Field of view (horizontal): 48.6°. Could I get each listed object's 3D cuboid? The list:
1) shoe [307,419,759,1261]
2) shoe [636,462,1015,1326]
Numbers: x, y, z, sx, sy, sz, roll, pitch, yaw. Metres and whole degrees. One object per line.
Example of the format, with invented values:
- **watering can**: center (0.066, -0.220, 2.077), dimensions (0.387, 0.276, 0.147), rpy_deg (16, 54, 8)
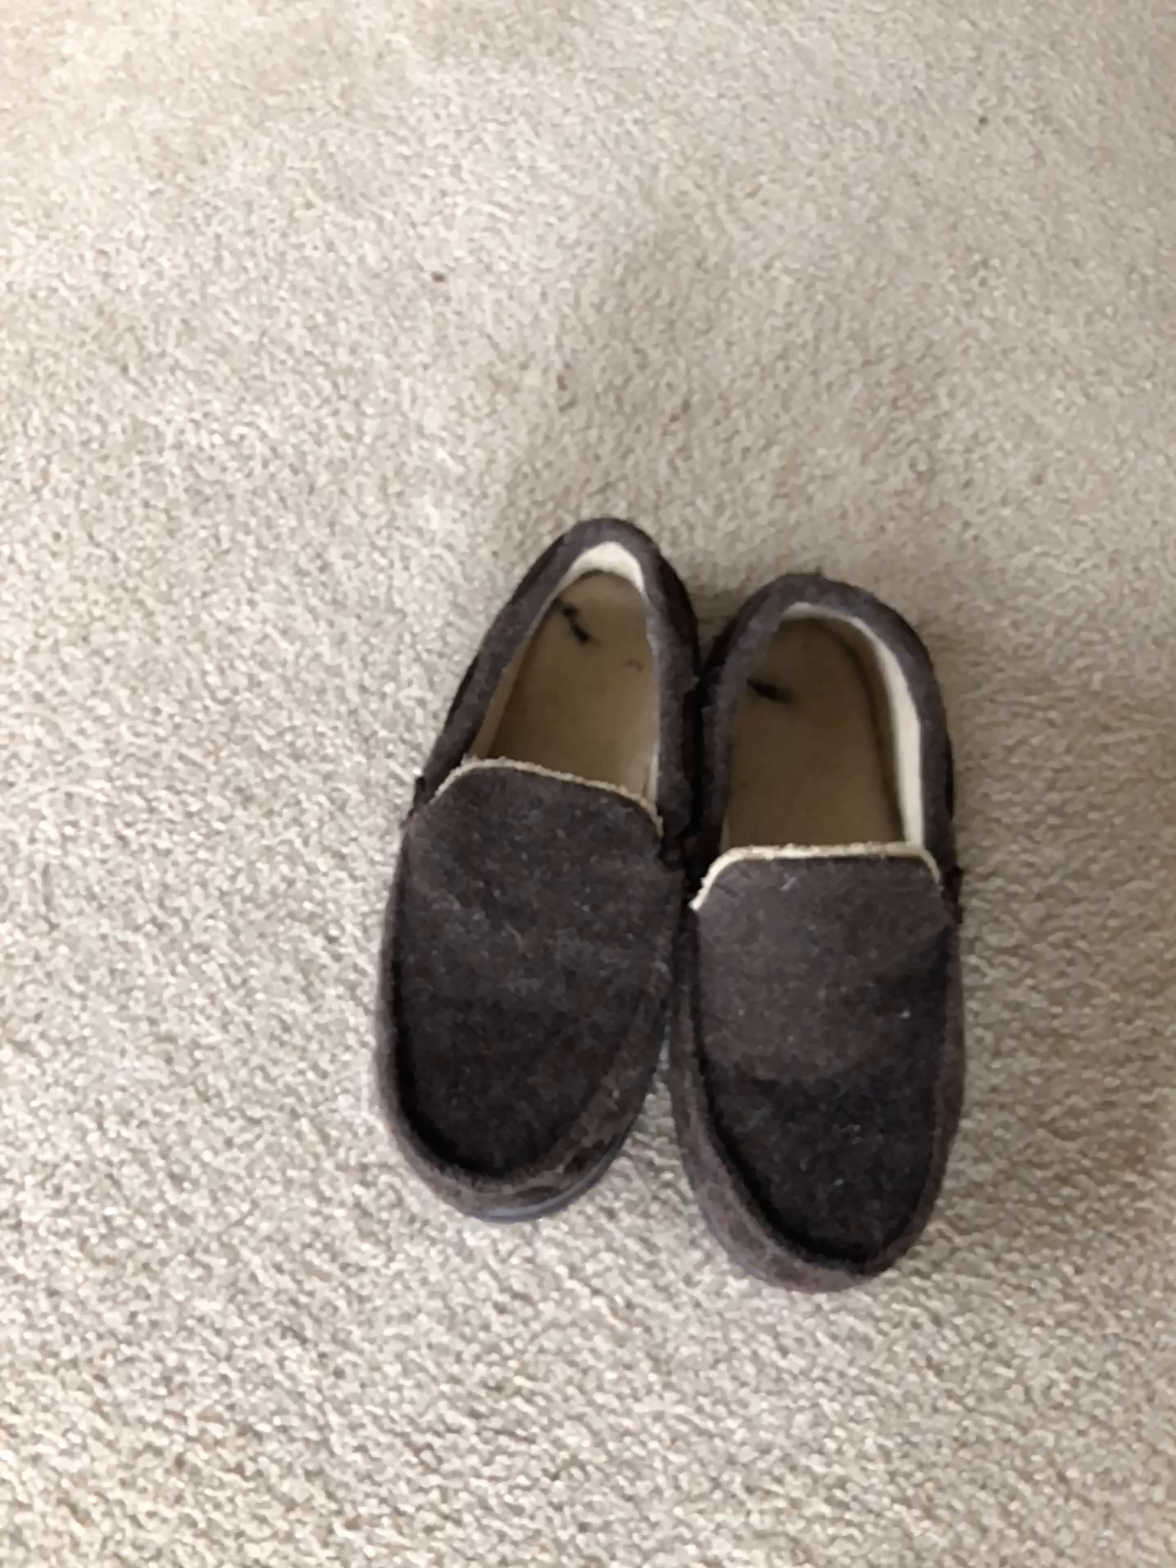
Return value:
- **shoe**: center (-0.011, 0.018, 0.533), dimensions (0.120, 0.096, 0.317), rpy_deg (8, 69, 3)
- **shoe**: center (0.094, 0.037, 0.520), dimensions (0.118, 0.096, 0.317), rpy_deg (6, 69, 3)
